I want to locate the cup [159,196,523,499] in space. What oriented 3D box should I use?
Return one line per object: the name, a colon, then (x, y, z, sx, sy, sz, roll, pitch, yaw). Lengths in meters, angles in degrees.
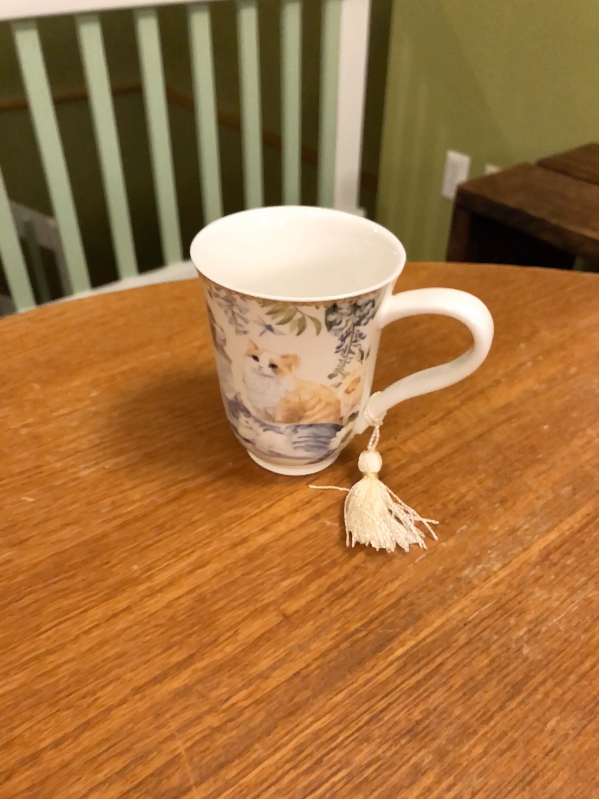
cup: (0.020, -0.028, 0.312, 0.135, 0.092, 0.095, 6, 38, 7)
